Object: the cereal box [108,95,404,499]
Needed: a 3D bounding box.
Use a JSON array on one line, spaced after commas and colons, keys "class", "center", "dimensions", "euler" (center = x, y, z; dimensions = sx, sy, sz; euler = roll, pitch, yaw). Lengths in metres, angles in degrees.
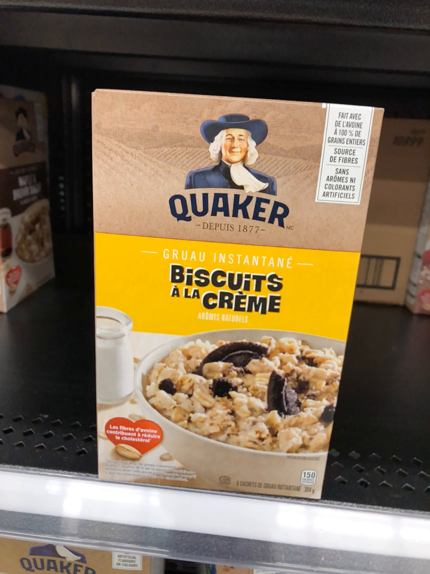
[{"class": "cereal box", "center": [0.013, 0.003, 0.263], "dimensions": [0.120, 0.189, 0.080], "euler": [5, 18, 3]}]
